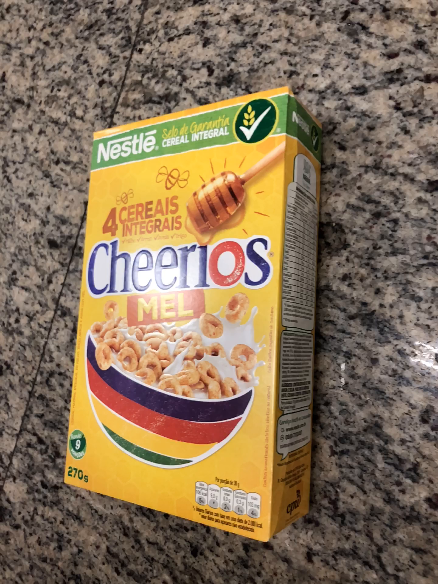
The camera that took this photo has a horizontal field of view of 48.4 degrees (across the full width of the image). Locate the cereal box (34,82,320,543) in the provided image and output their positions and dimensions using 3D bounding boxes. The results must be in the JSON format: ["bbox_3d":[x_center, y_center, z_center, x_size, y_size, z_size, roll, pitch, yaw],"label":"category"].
[{"bbox_3d":[-0.028,0.009,0.322,0.171,0.060,0.240,-1,81,31],"label":"cereal box"}]
